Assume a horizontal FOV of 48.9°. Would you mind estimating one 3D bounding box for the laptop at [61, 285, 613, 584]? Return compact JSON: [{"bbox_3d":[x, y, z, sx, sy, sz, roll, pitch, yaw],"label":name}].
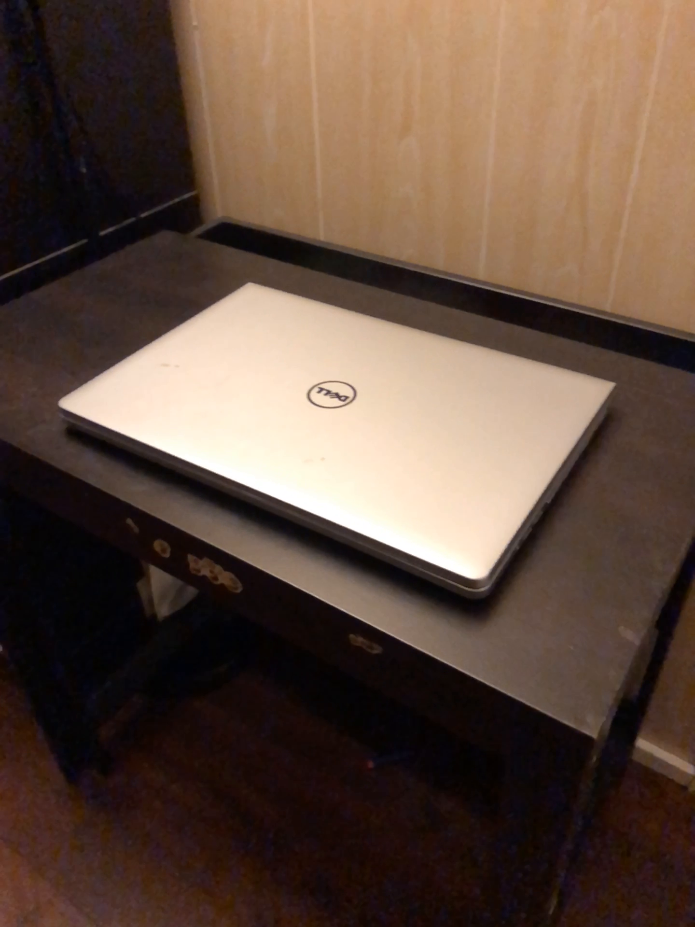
[{"bbox_3d":[-0.010,-0.056,0.616,0.371,0.003,0.250,20,44,27],"label":"laptop"}]
